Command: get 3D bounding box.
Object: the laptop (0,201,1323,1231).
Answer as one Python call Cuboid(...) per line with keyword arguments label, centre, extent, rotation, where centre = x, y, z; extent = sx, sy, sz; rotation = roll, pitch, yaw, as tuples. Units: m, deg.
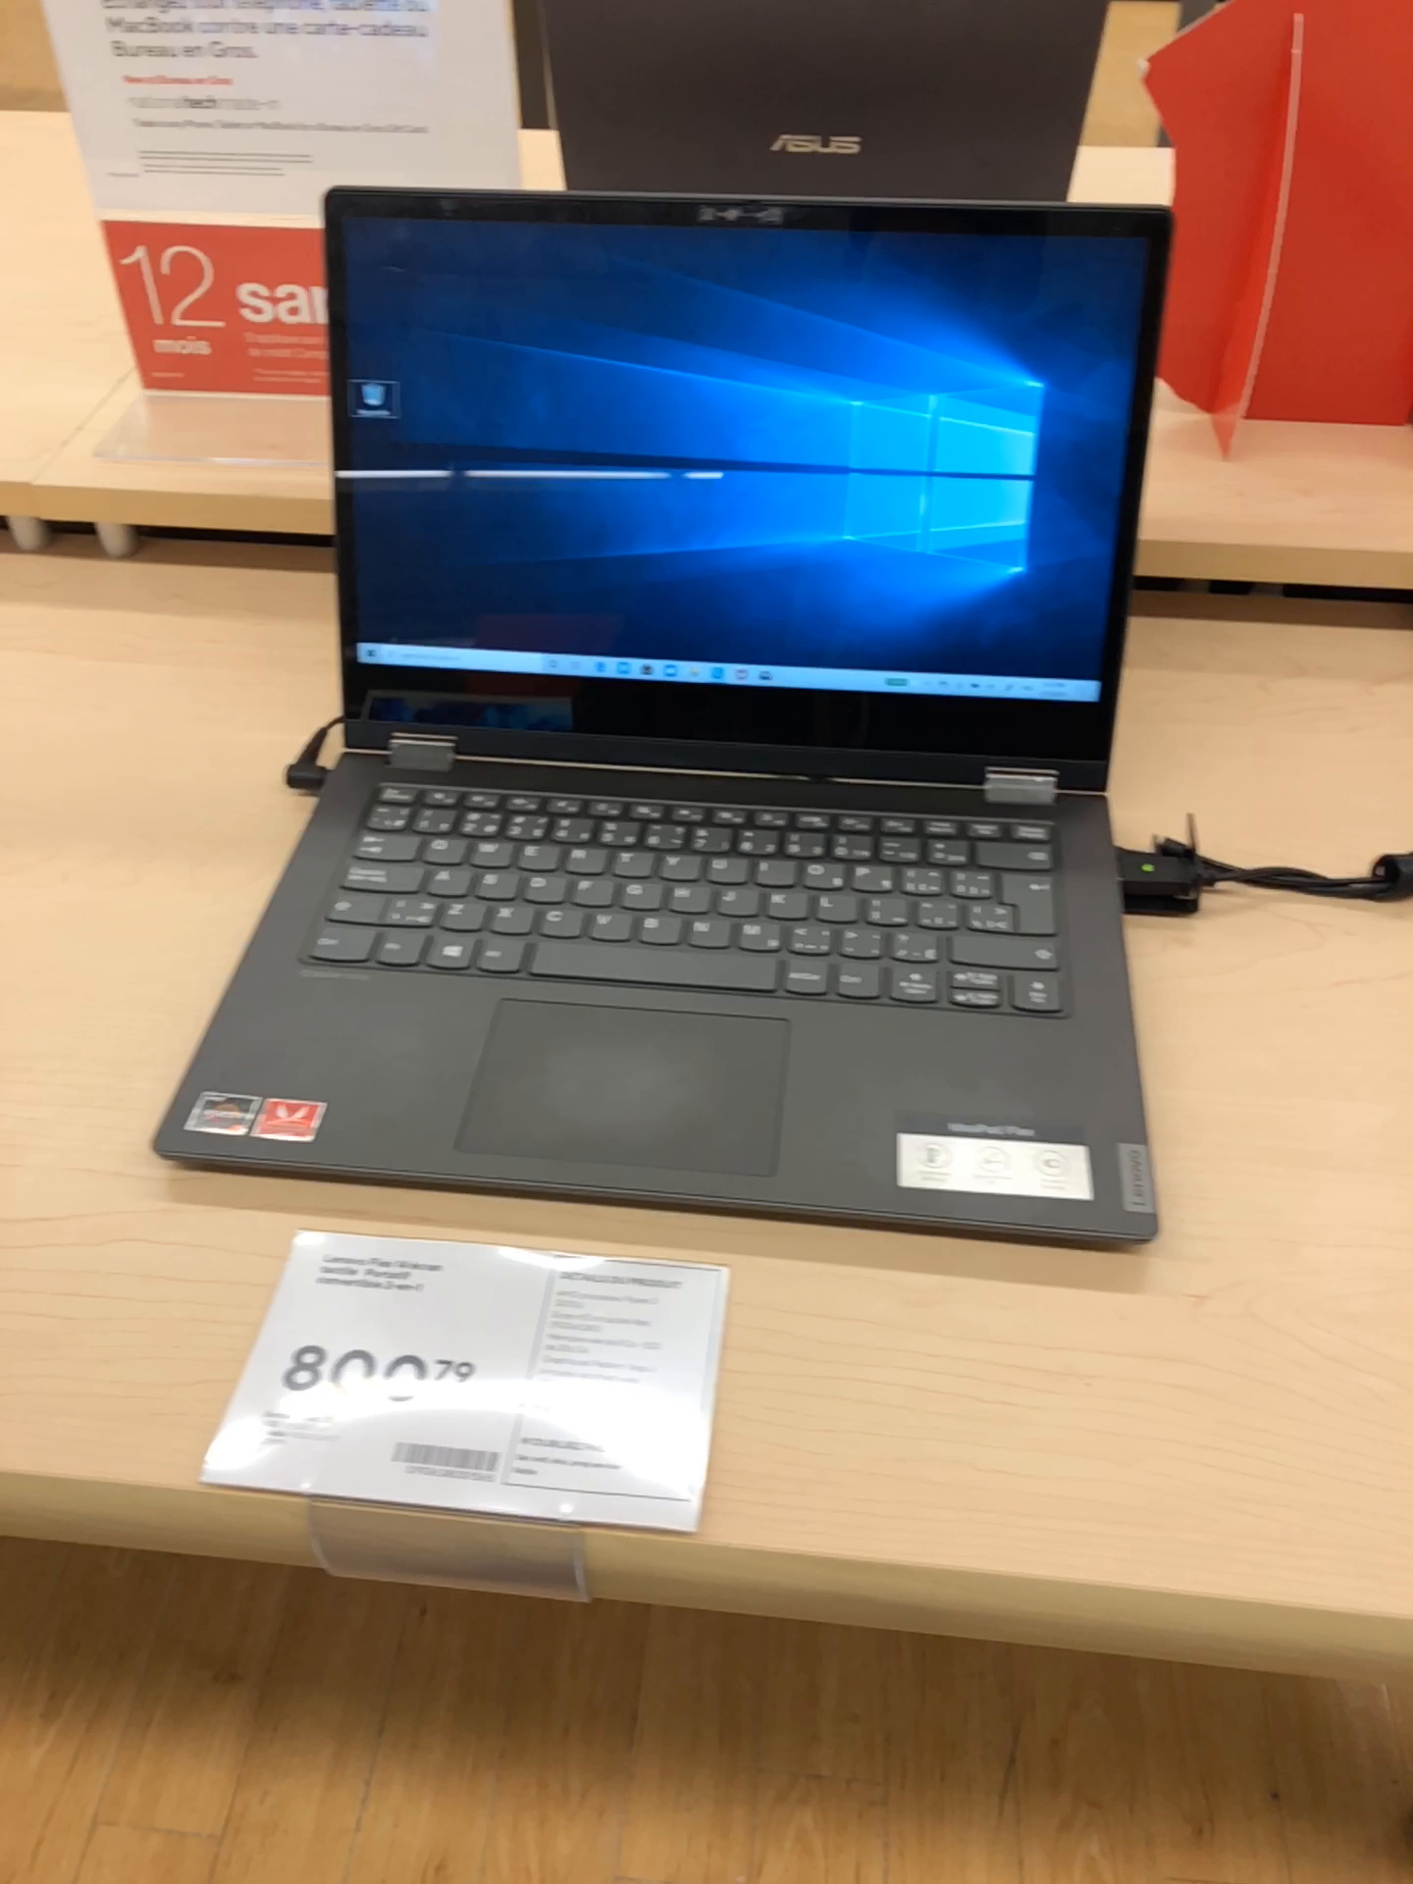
Cuboid(label="laptop", centre=(-0.003, -0.098, 0.541), extent=(0.319, 0.198, 0.307), rotation=(4, 43, 5))
